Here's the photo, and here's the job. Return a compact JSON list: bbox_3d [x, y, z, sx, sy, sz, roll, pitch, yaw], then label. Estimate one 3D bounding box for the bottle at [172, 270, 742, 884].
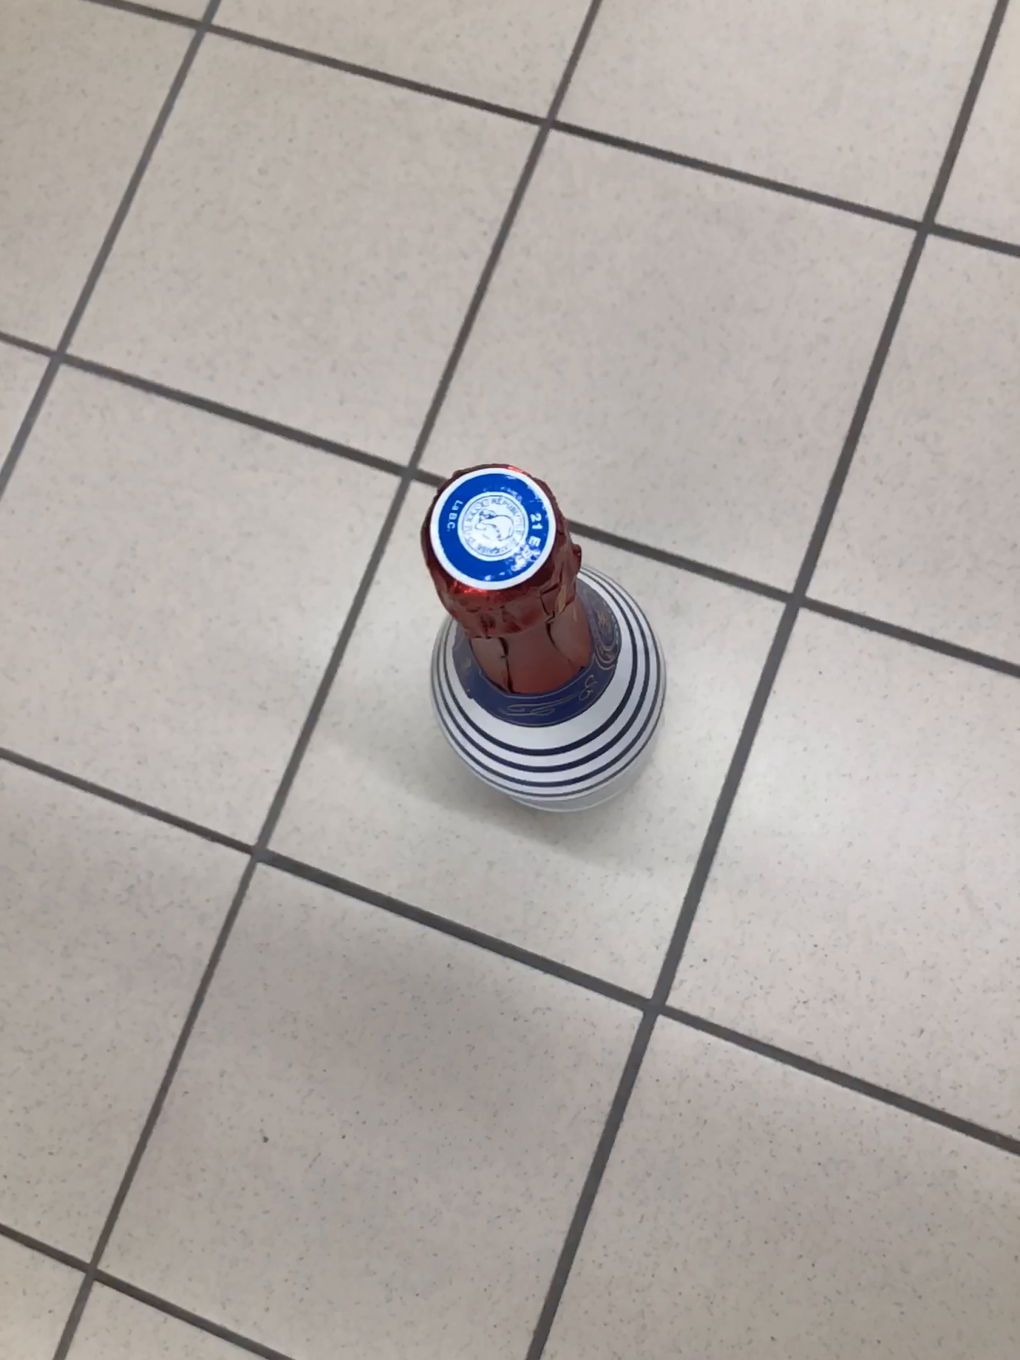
[{"bbox_3d":[0.001,0.003,0.383,0.090,0.310,0.100,-20,78,1],"label":"bottle"}]
